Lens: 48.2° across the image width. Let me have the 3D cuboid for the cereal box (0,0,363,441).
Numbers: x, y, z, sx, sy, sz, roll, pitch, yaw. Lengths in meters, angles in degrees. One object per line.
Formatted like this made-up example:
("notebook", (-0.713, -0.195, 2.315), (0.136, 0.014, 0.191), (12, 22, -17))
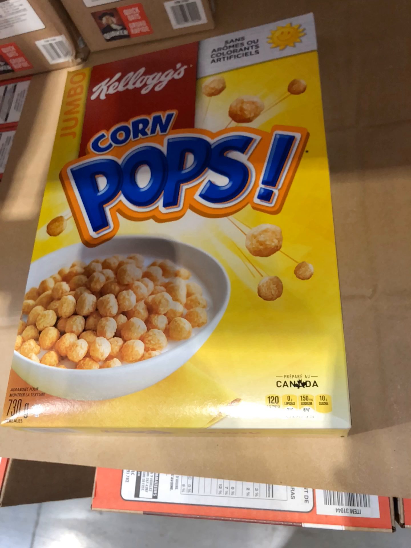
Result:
("cereal box", (-0.022, -0.043, 0.398), (0.270, 0.100, 0.340), (-5, 66, 17))
